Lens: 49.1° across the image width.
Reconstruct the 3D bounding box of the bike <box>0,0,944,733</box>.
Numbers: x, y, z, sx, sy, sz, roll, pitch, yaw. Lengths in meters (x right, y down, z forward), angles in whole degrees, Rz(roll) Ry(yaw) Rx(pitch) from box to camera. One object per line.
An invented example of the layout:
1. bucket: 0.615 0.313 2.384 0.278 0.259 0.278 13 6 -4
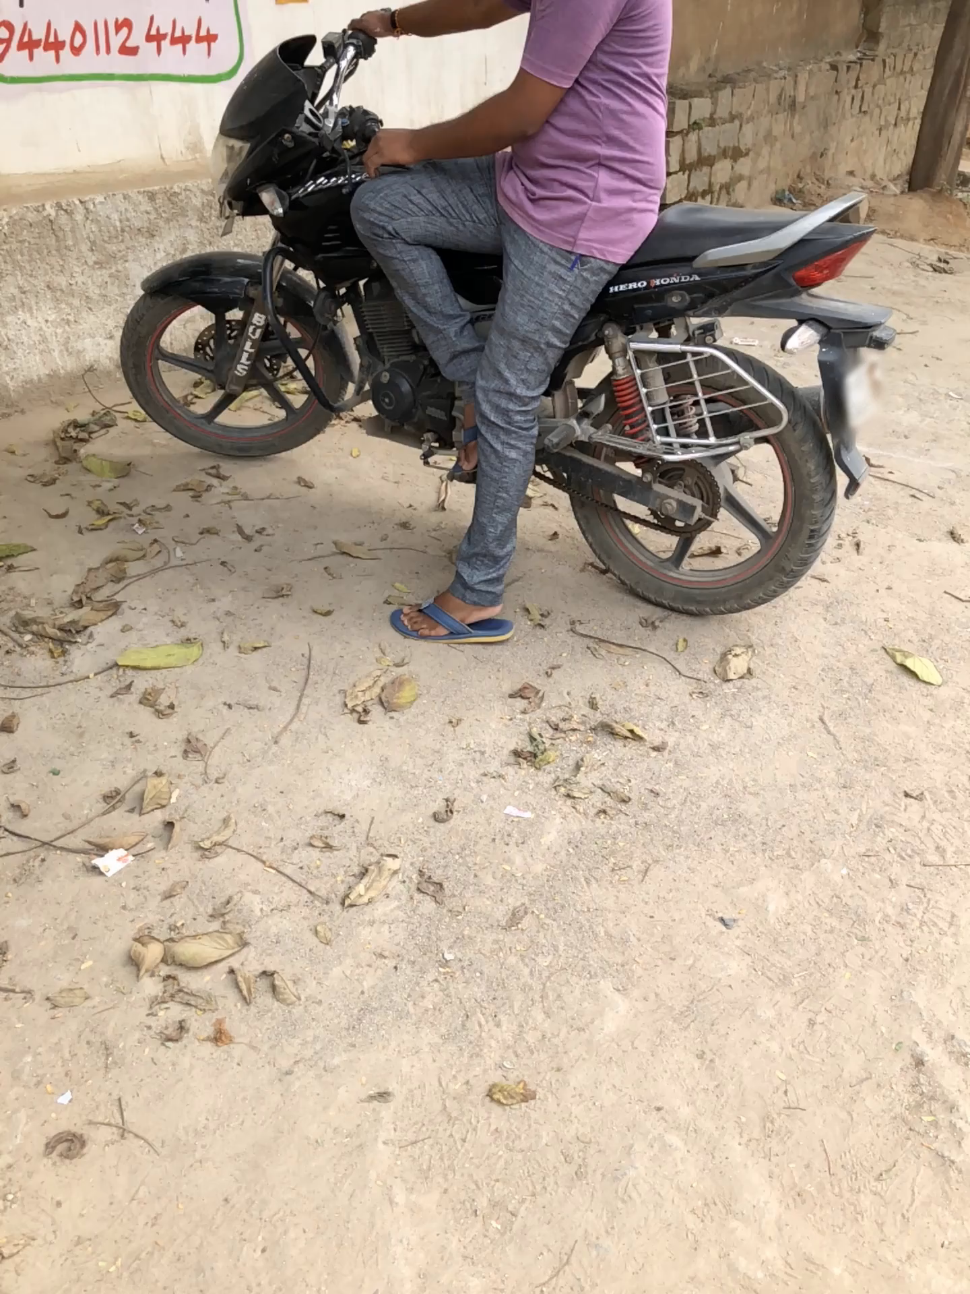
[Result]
1. bike: -0.135 -0.769 2.358 1.837 1.190 0.829 15 36 18
